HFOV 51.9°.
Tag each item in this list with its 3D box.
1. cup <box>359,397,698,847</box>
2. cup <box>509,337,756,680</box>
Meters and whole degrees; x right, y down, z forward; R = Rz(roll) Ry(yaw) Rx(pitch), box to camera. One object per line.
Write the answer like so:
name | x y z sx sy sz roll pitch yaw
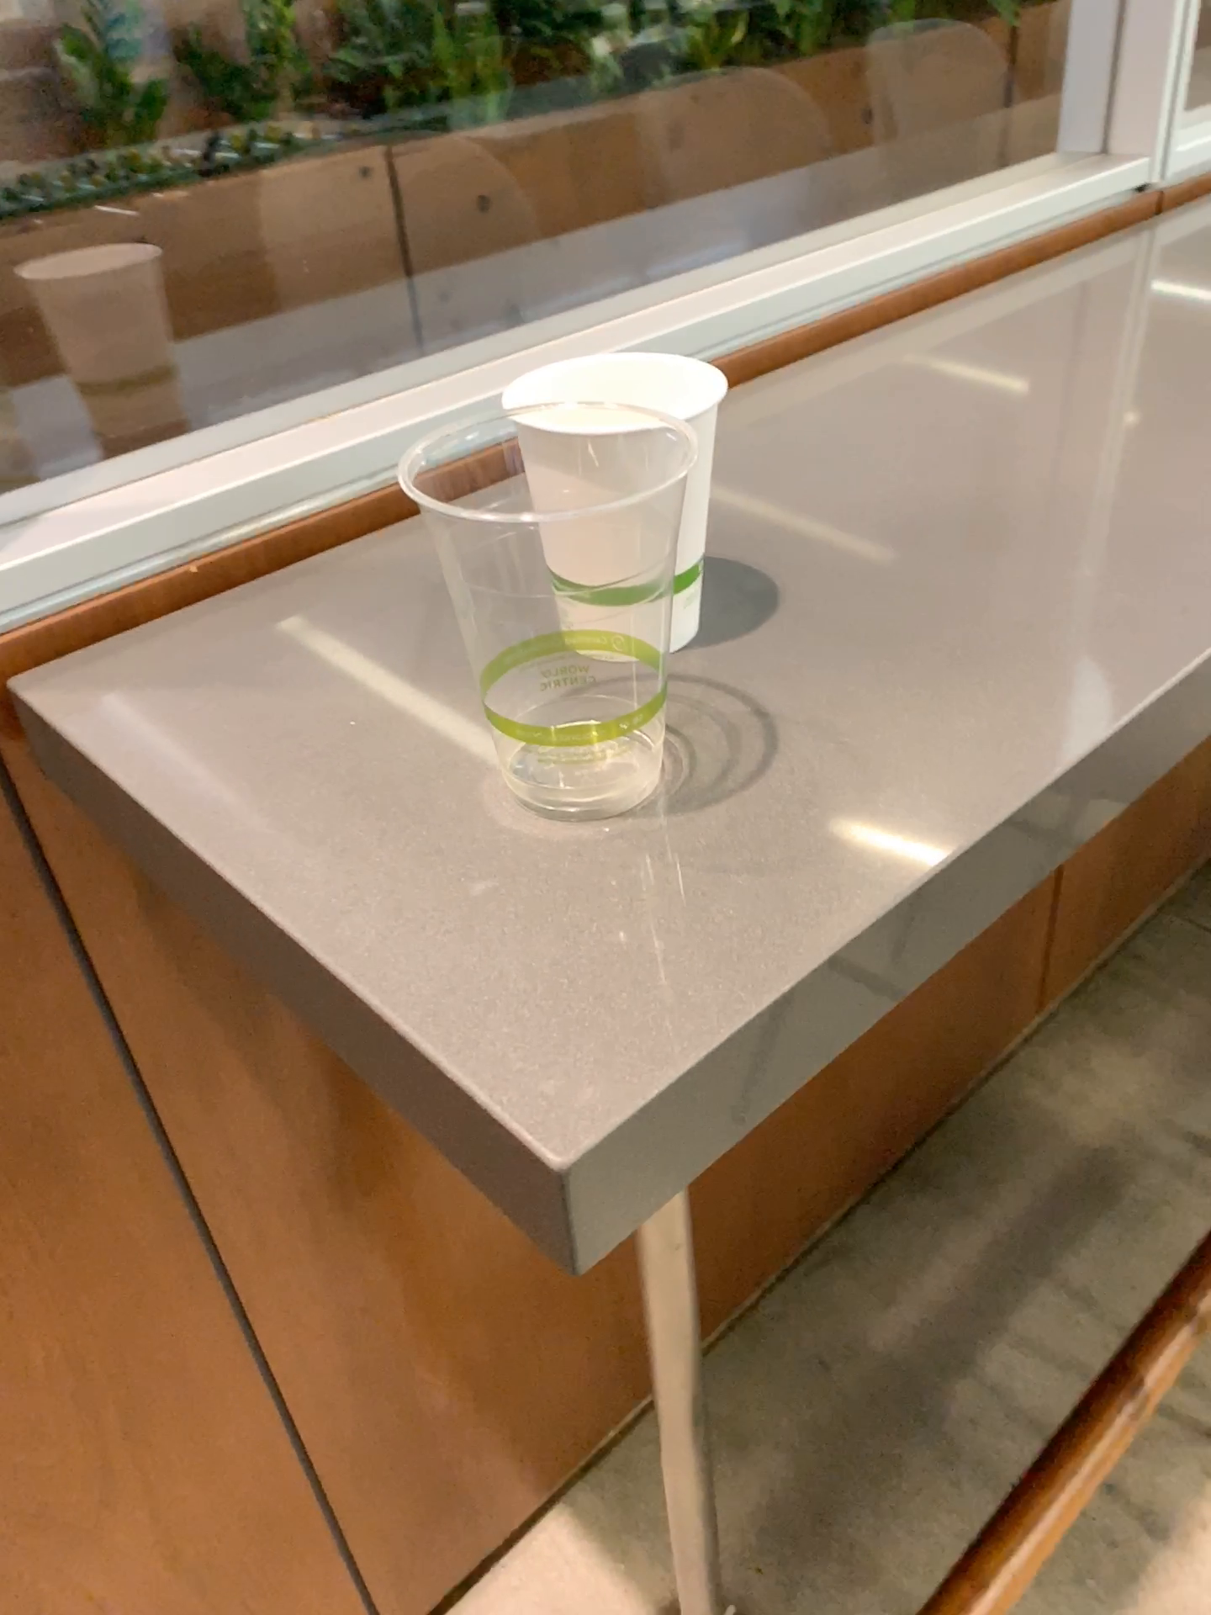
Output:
cup | -0.017 -0.062 0.422 0.090 0.119 0.091 -4 35 3
cup | 0.011 -0.126 0.524 0.090 0.109 0.081 -6 35 0
